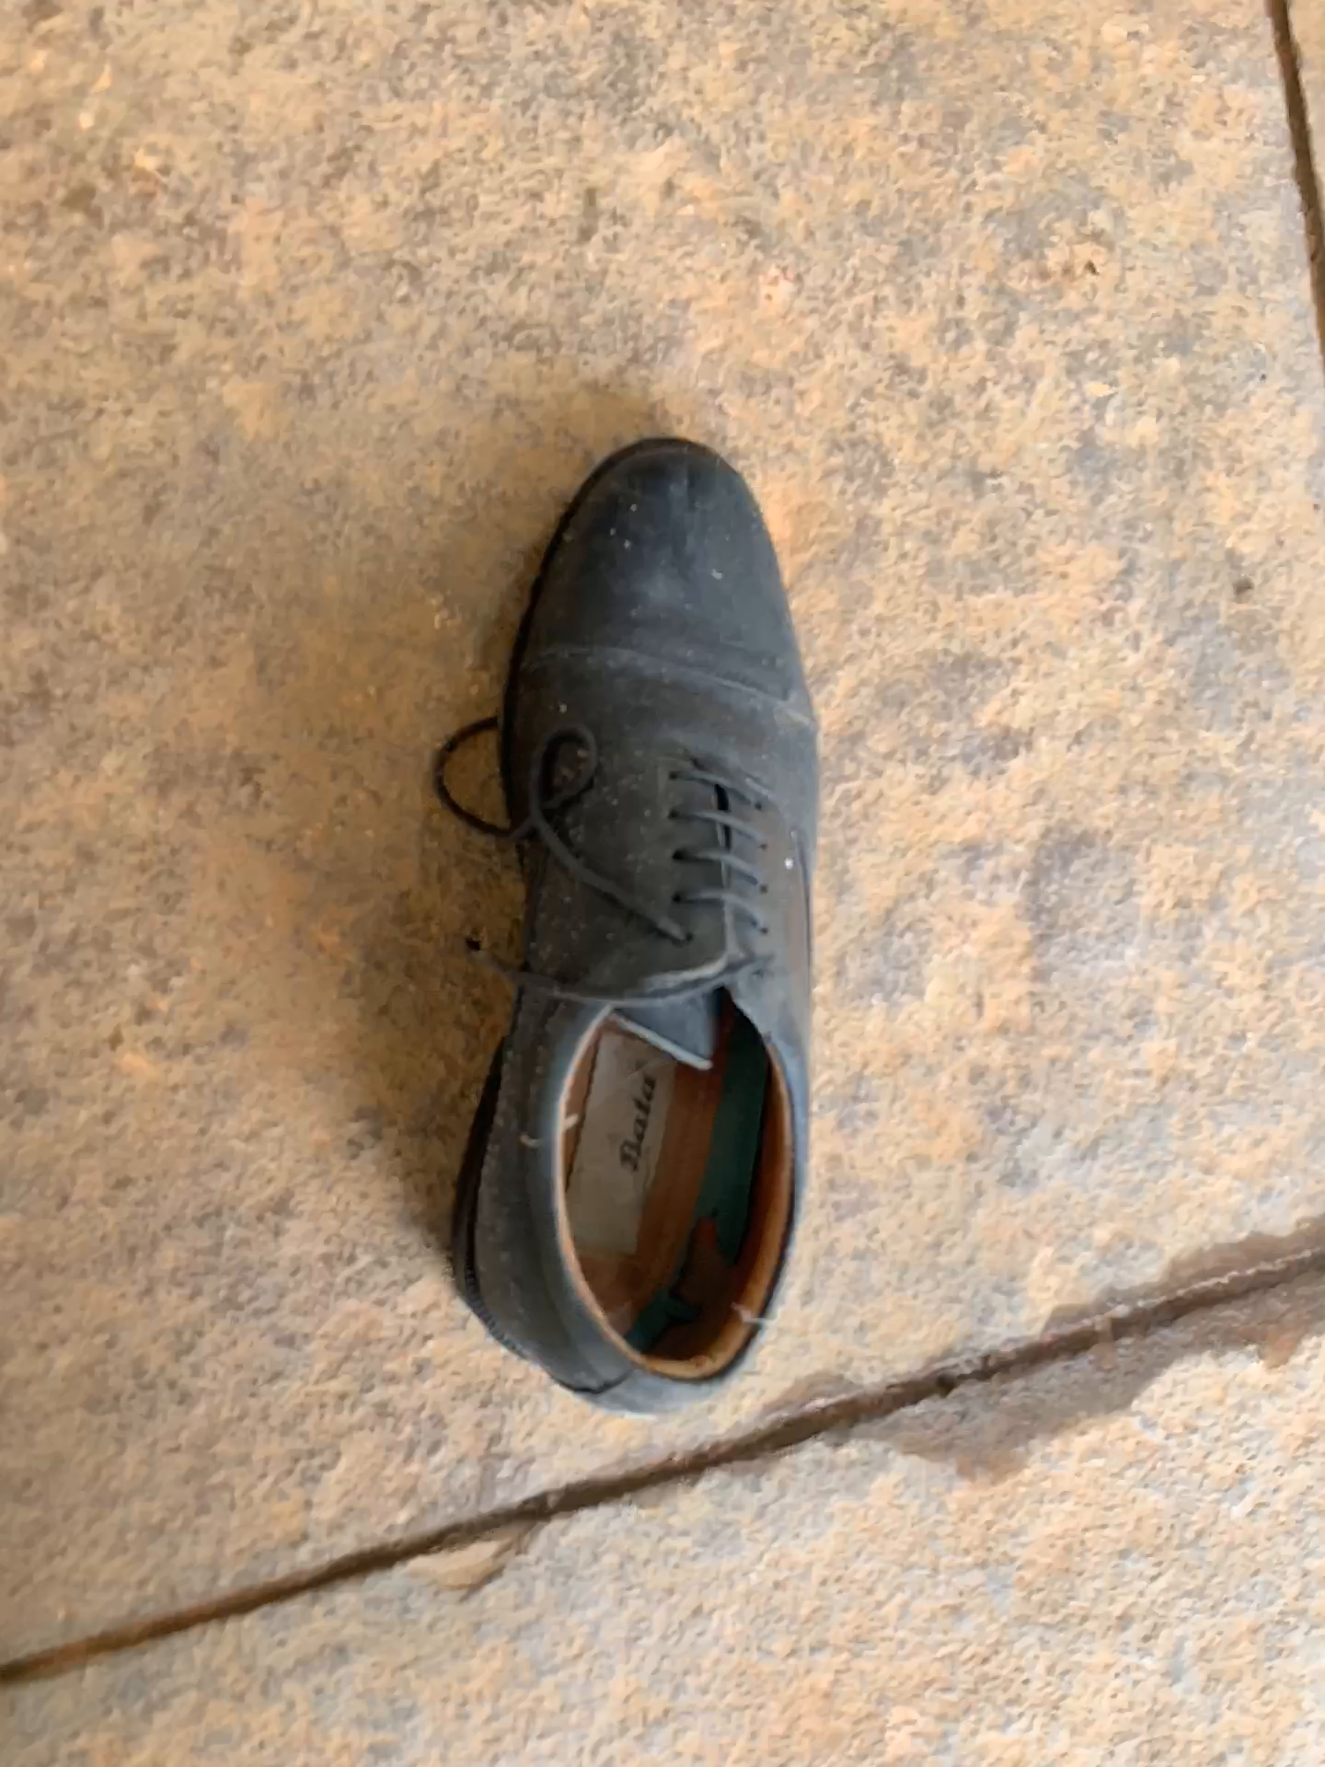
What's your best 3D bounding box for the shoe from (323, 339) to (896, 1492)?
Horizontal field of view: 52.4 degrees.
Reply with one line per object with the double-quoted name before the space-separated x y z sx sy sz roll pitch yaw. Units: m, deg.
"shoe" -0.018 0.011 0.372 0.100 0.090 0.270 10 84 -18
